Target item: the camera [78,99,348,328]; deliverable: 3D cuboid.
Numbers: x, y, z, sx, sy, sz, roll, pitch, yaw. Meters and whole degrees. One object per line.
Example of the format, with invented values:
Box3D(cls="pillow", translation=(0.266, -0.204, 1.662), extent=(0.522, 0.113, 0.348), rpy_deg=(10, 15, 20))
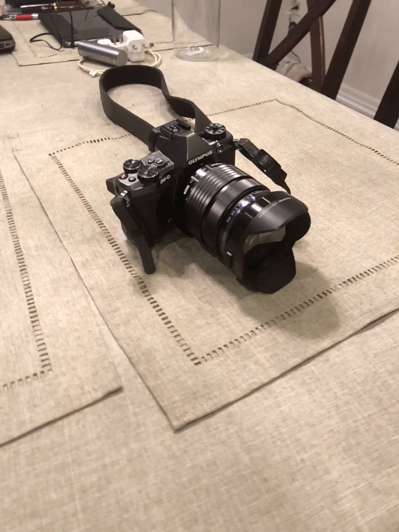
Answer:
Box3D(cls="camera", translation=(0.008, -0.056, 0.363), extent=(0.165, 0.092, 0.124), rpy_deg=(31, 50, 33))
